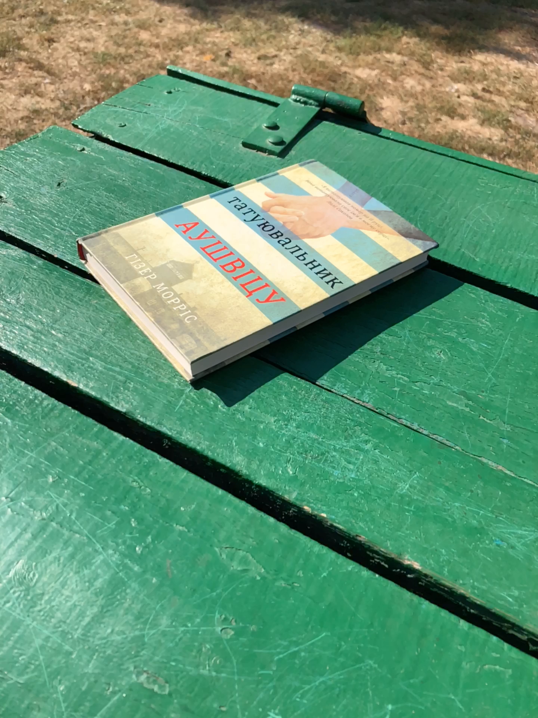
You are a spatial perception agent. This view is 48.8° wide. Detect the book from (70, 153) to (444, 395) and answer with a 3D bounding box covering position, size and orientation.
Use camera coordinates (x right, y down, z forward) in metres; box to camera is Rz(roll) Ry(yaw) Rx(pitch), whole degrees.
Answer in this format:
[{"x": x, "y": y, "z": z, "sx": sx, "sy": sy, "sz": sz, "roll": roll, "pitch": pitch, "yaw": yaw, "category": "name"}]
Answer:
[{"x": -0.005, "y": -0.076, "z": 0.416, "sx": 0.213, "sy": 0.020, "sz": 0.148, "roll": -27, "pitch": 56, "yaw": -27, "category": "book"}]
